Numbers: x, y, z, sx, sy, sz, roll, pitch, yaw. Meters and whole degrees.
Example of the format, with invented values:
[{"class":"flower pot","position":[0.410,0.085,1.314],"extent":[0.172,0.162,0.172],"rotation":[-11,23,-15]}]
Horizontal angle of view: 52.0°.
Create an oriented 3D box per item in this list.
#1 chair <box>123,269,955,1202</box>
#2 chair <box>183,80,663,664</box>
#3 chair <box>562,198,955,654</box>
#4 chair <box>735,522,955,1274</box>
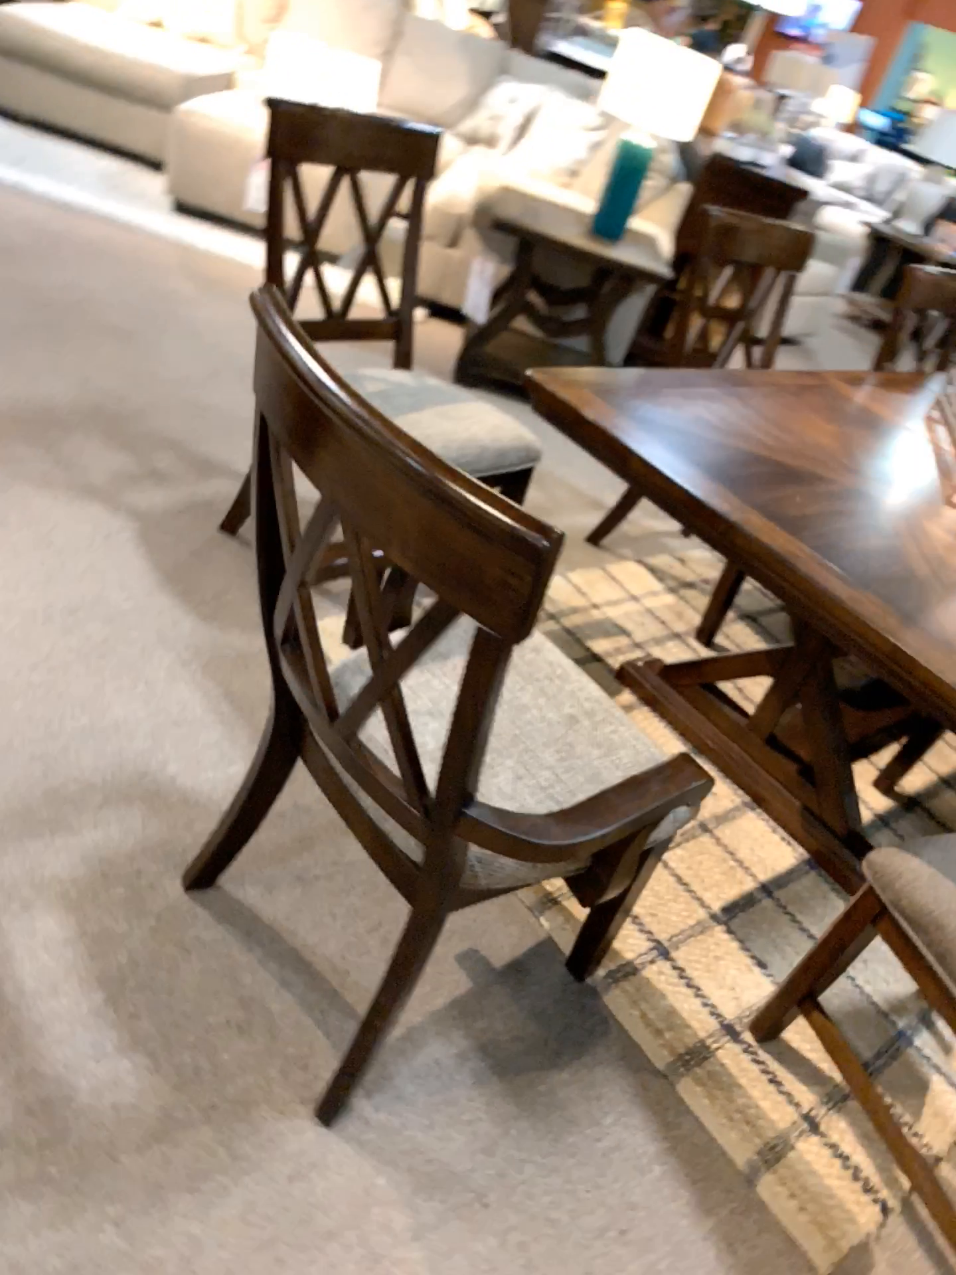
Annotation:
[{"class":"chair","position":[0.008,0.101,1.274],"extent":[0.655,0.896,0.547],"rotation":[-11,44,-39]},{"class":"chair","position":[-0.170,-0.550,2.104],"extent":[0.646,0.916,0.507],"rotation":[40,37,28]},{"class":"chair","position":[0.742,-0.547,2.594],"extent":[0.466,0.916,0.646],"rotation":[-11,44,-39]},{"class":"chair","position":[0.896,0.437,1.231],"extent":[0.506,0.936,0.647],"rotation":[-1,39,-29]}]
